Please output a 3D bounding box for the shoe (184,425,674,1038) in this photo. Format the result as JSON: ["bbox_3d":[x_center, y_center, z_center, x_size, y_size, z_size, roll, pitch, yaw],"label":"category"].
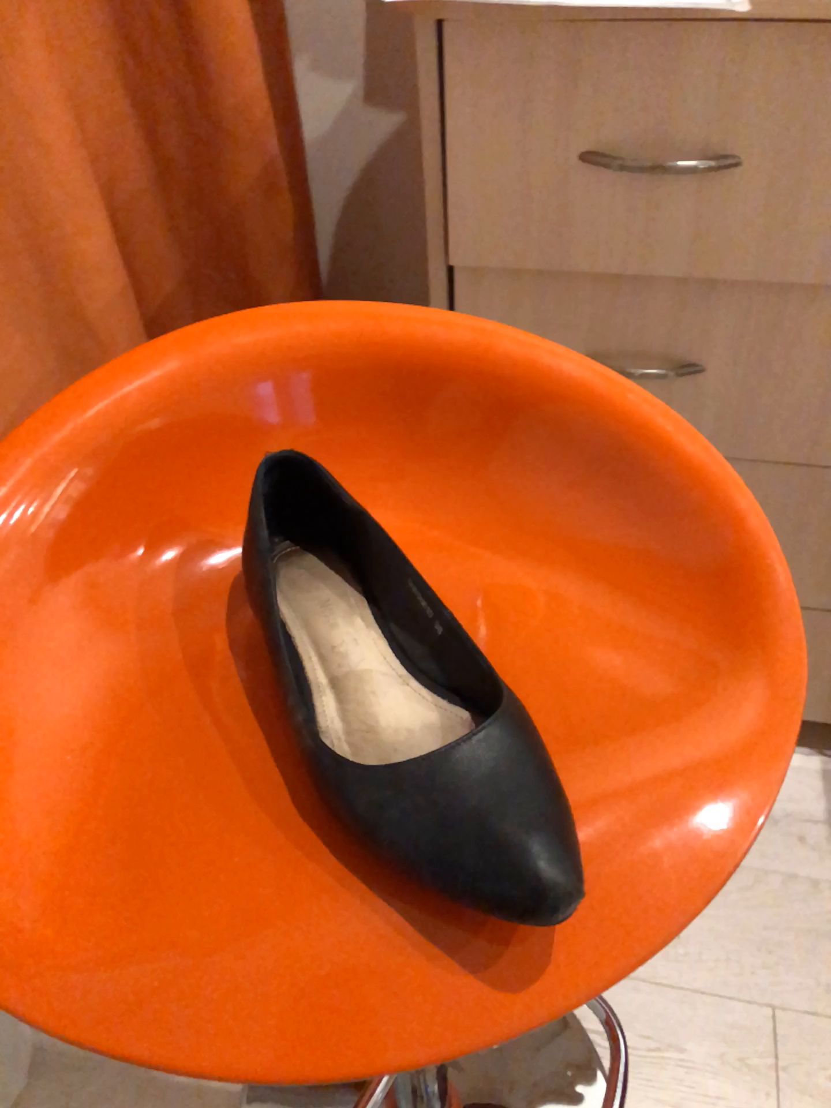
[{"bbox_3d":[-0.012,0.053,0.404,0.090,0.079,0.261,-21,45,-18],"label":"shoe"}]
